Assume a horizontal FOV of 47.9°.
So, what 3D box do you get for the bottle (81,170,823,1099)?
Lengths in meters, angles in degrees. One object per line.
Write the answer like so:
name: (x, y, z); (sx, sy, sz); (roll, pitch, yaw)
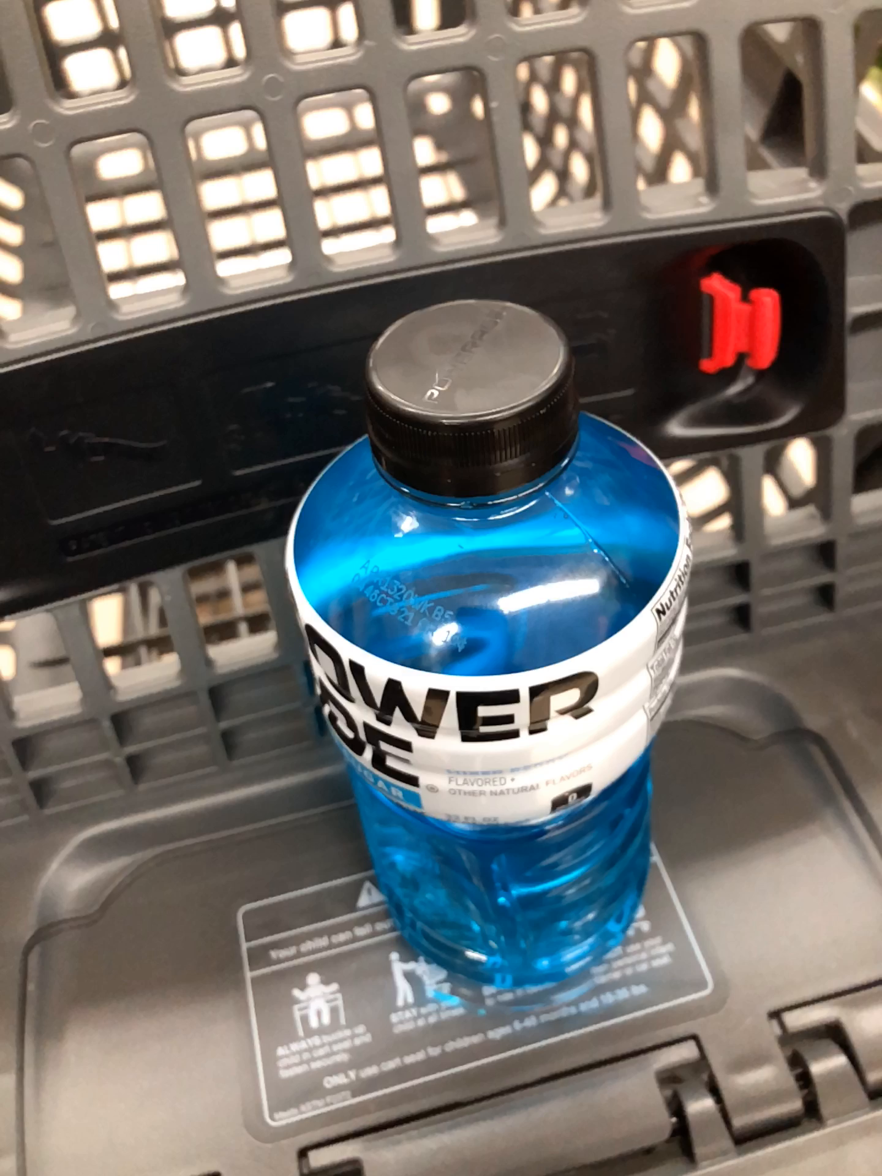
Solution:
bottle: (0.014, 0.026, 0.266); (0.100, 0.220, 0.100); (-5, 46, 5)
